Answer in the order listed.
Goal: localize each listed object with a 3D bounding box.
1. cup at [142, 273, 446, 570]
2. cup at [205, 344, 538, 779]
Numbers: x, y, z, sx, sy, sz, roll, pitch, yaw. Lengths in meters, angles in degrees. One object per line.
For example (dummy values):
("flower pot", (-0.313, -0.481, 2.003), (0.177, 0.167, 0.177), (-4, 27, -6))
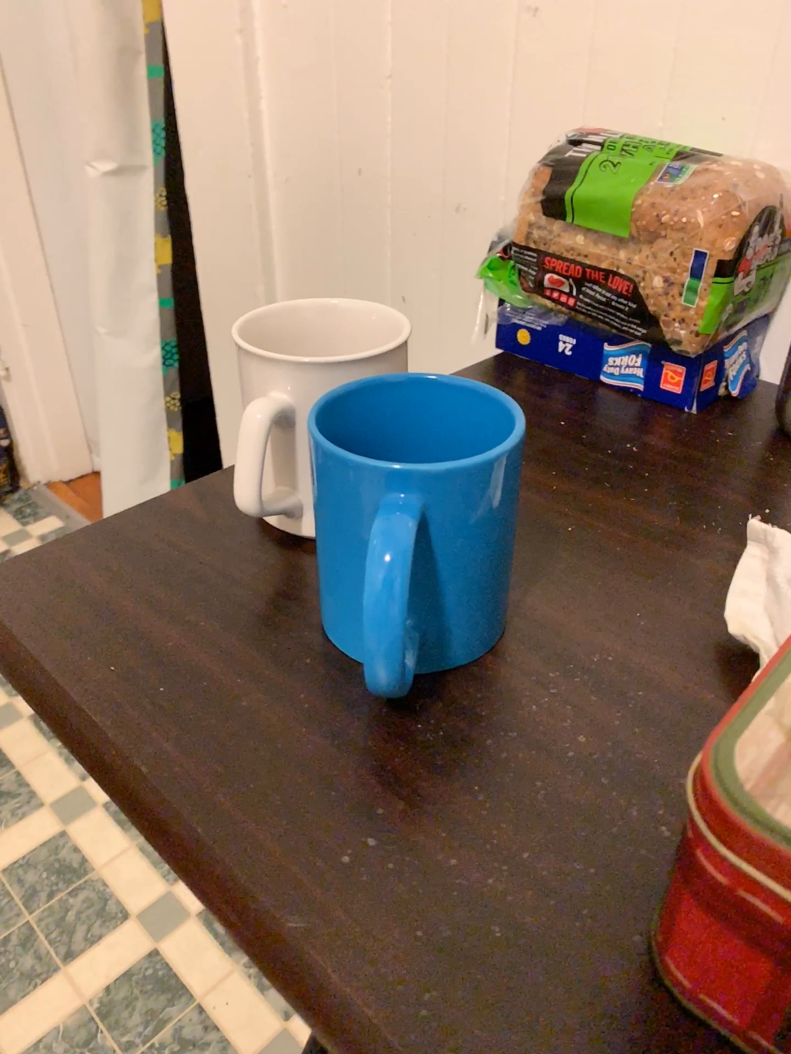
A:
("cup", (-0.042, -0.059, 0.403), (0.090, 0.089, 0.120), (16, 37, 22))
("cup", (0.001, 0.004, 0.324), (0.090, 0.099, 0.141), (7, 34, 11))
